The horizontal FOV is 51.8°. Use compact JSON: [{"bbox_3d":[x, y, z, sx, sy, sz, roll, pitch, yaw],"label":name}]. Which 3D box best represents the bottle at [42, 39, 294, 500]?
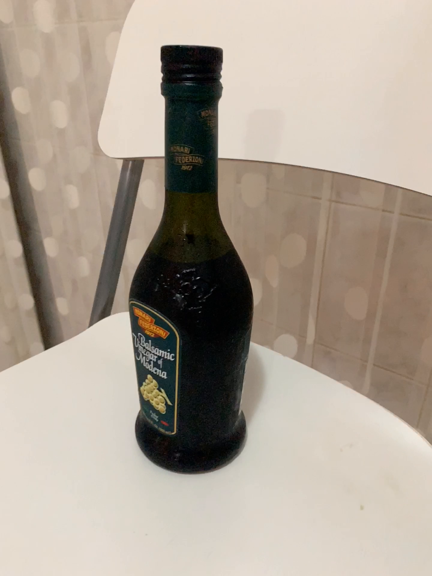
[{"bbox_3d":[-0.022,-0.008,0.267,0.090,0.243,0.080,22,35,37],"label":"bottle"}]
